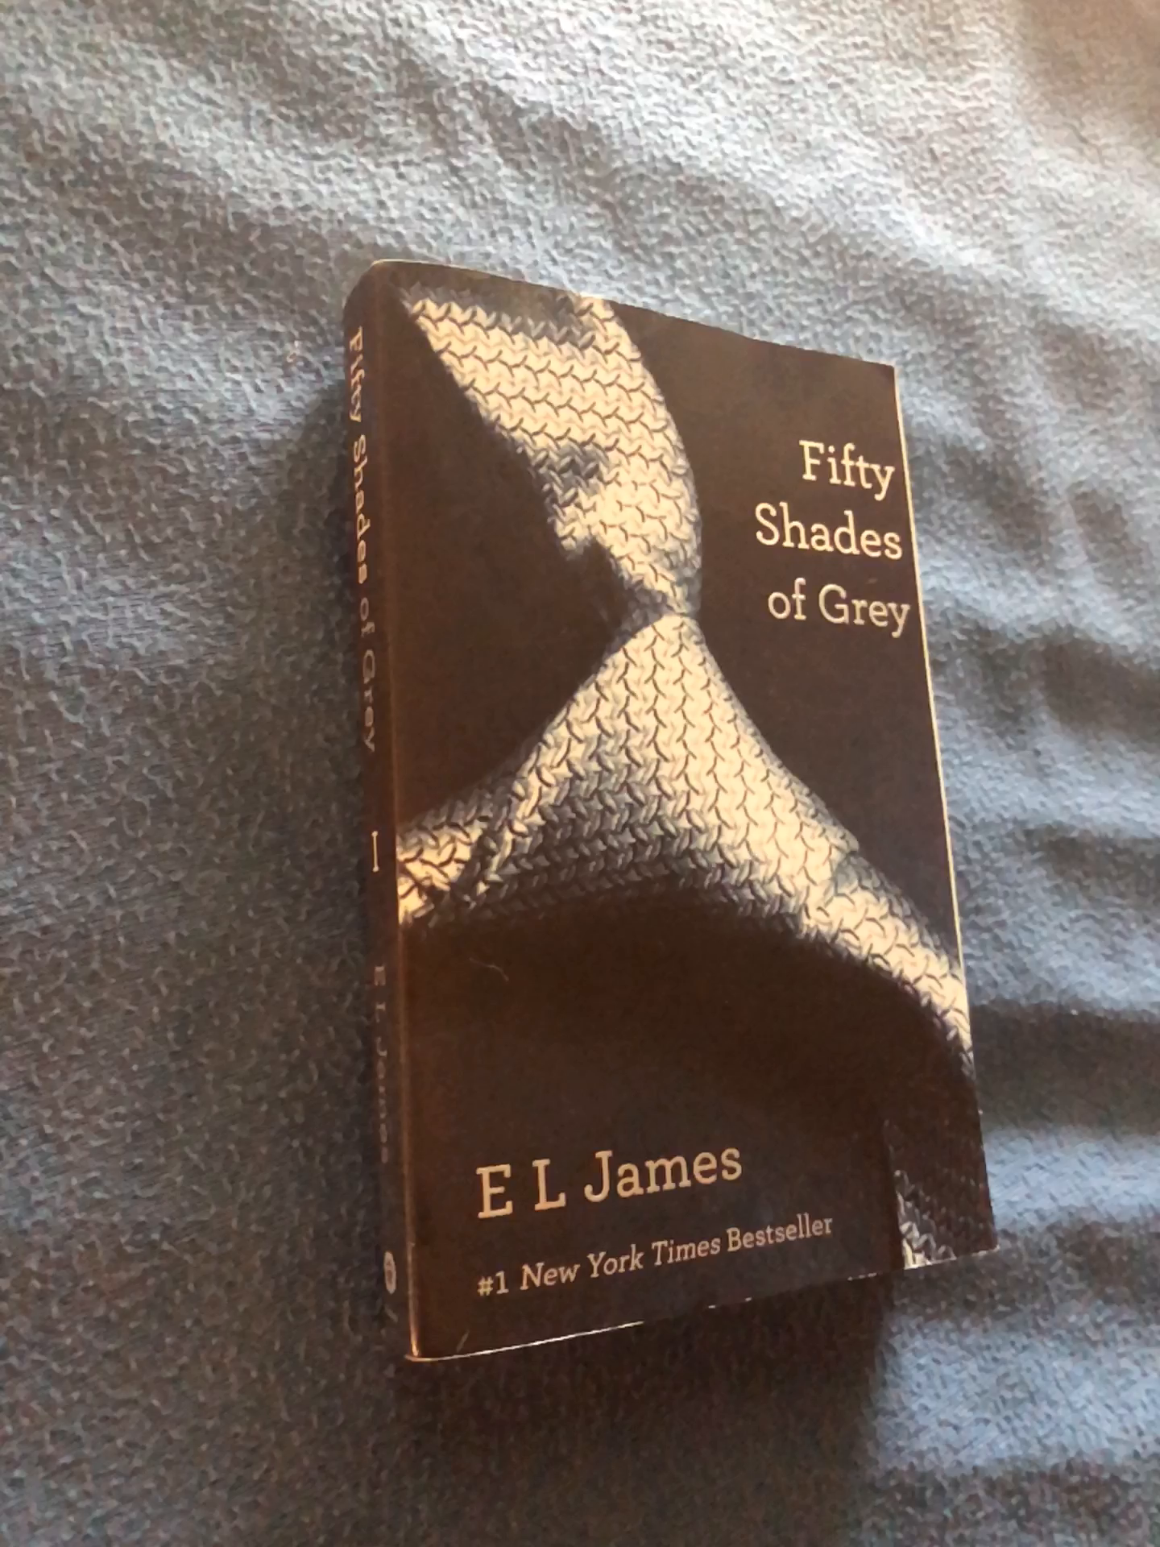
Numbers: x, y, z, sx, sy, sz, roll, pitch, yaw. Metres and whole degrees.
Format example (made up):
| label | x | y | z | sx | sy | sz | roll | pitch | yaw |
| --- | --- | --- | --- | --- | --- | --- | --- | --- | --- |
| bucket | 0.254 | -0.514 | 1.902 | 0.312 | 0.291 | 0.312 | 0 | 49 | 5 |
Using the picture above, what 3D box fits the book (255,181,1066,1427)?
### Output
| label | x | y | z | sx | sy | sz | roll | pitch | yaw |
| --- | --- | --- | --- | --- | --- | --- | --- | --- | --- |
| book | 0.016 | 0.001 | 0.266 | 0.150 | 0.040 | 0.210 | 1 | 78 | -27 |
